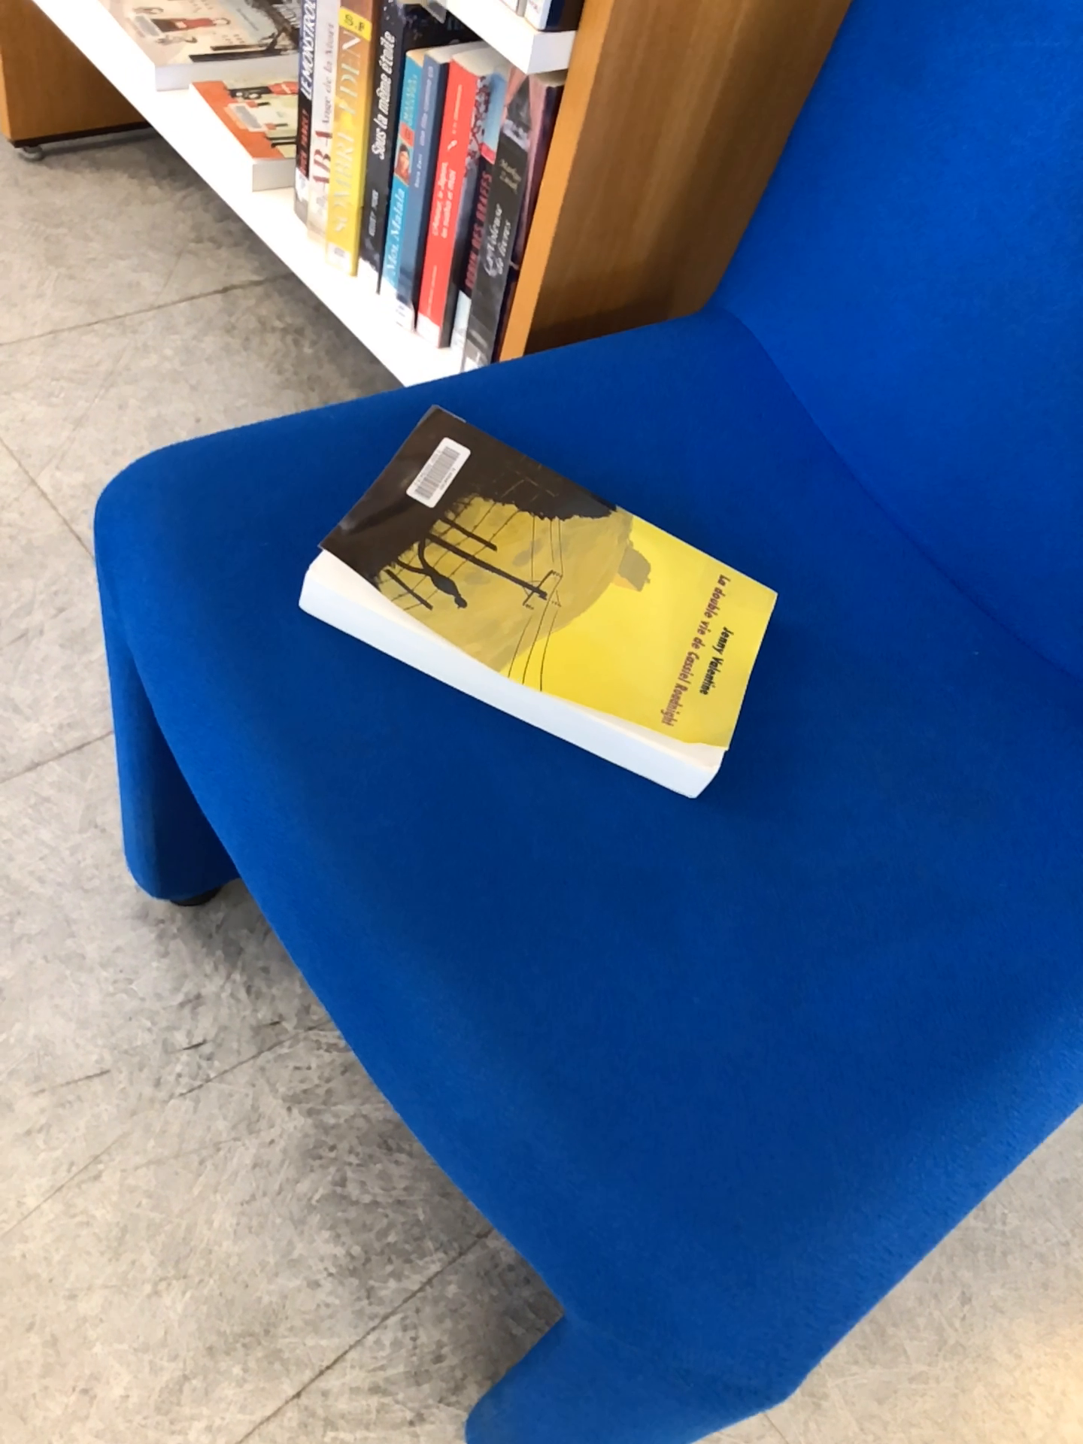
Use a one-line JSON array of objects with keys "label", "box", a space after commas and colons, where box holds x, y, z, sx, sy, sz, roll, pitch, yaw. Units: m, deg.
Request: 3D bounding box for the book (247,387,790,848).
[{"label": "book", "box": [-0.004, -0.056, 0.559, 0.214, 0.040, 0.146, 28, 50, 0]}]
